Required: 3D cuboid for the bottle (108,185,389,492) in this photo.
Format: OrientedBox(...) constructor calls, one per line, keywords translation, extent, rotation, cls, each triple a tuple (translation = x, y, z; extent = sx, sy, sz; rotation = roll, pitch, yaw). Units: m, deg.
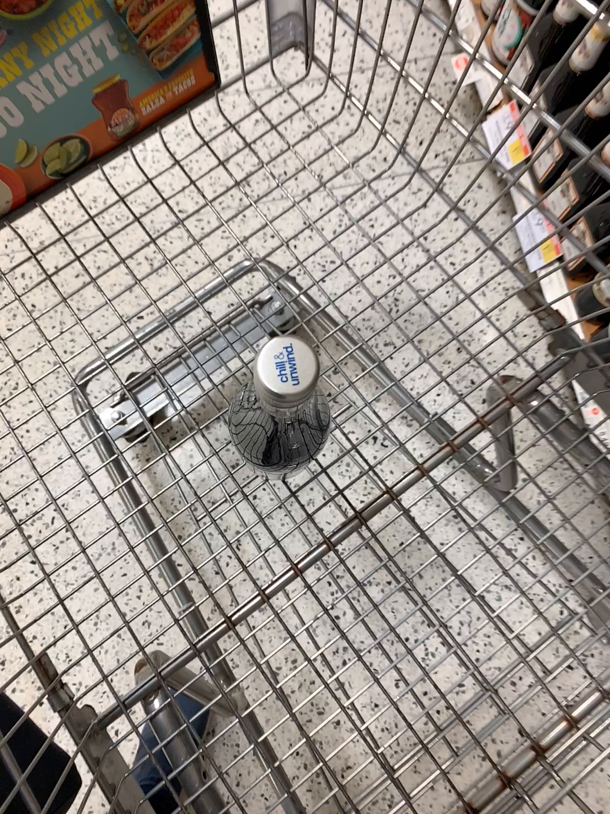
OrientedBox(translation=(-0.029, -0.013, 0.433), extent=(0.090, 0.309, 0.090), rotation=(0, 79, -1), cls="bottle")
